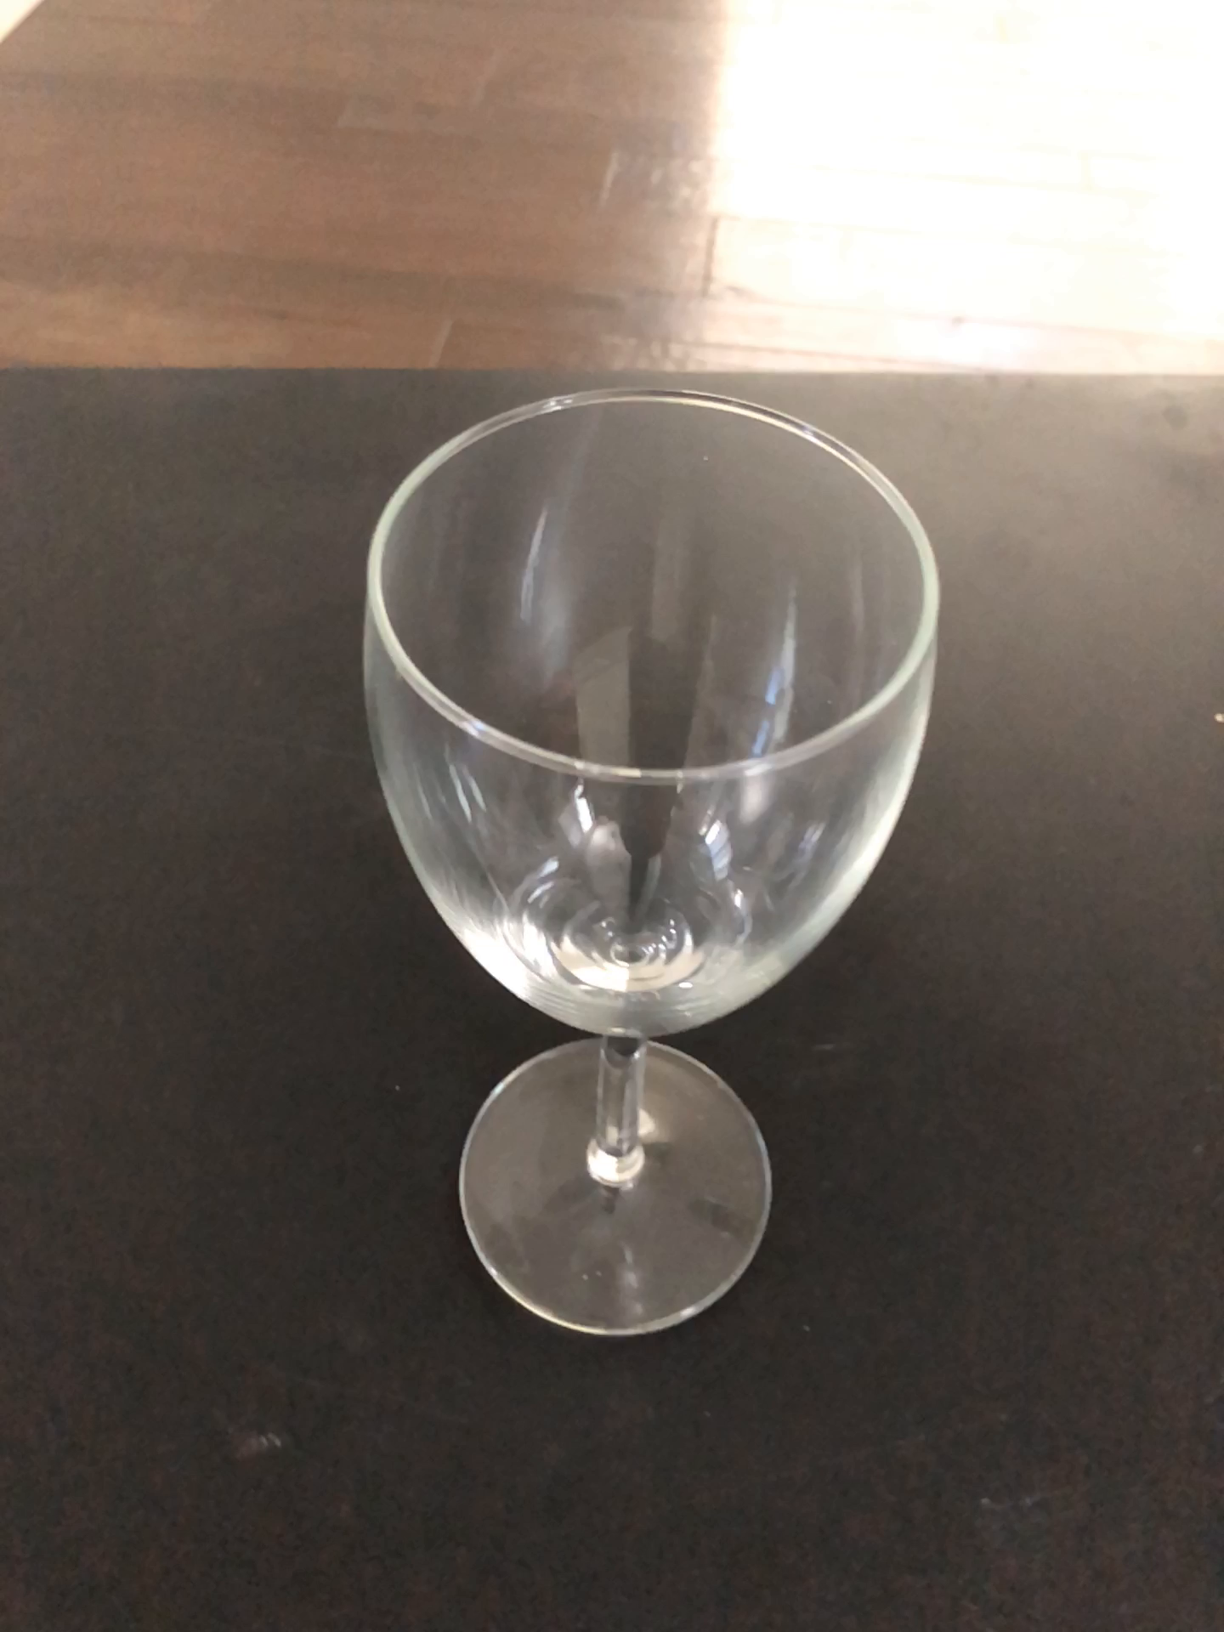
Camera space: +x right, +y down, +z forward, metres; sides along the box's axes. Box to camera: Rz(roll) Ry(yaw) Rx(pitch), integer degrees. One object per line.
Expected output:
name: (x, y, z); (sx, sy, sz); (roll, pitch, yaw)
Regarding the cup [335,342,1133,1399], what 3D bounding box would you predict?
cup: (0.008, 0.024, 0.239); (0.080, 0.179, 0.081); (1, 50, -1)
